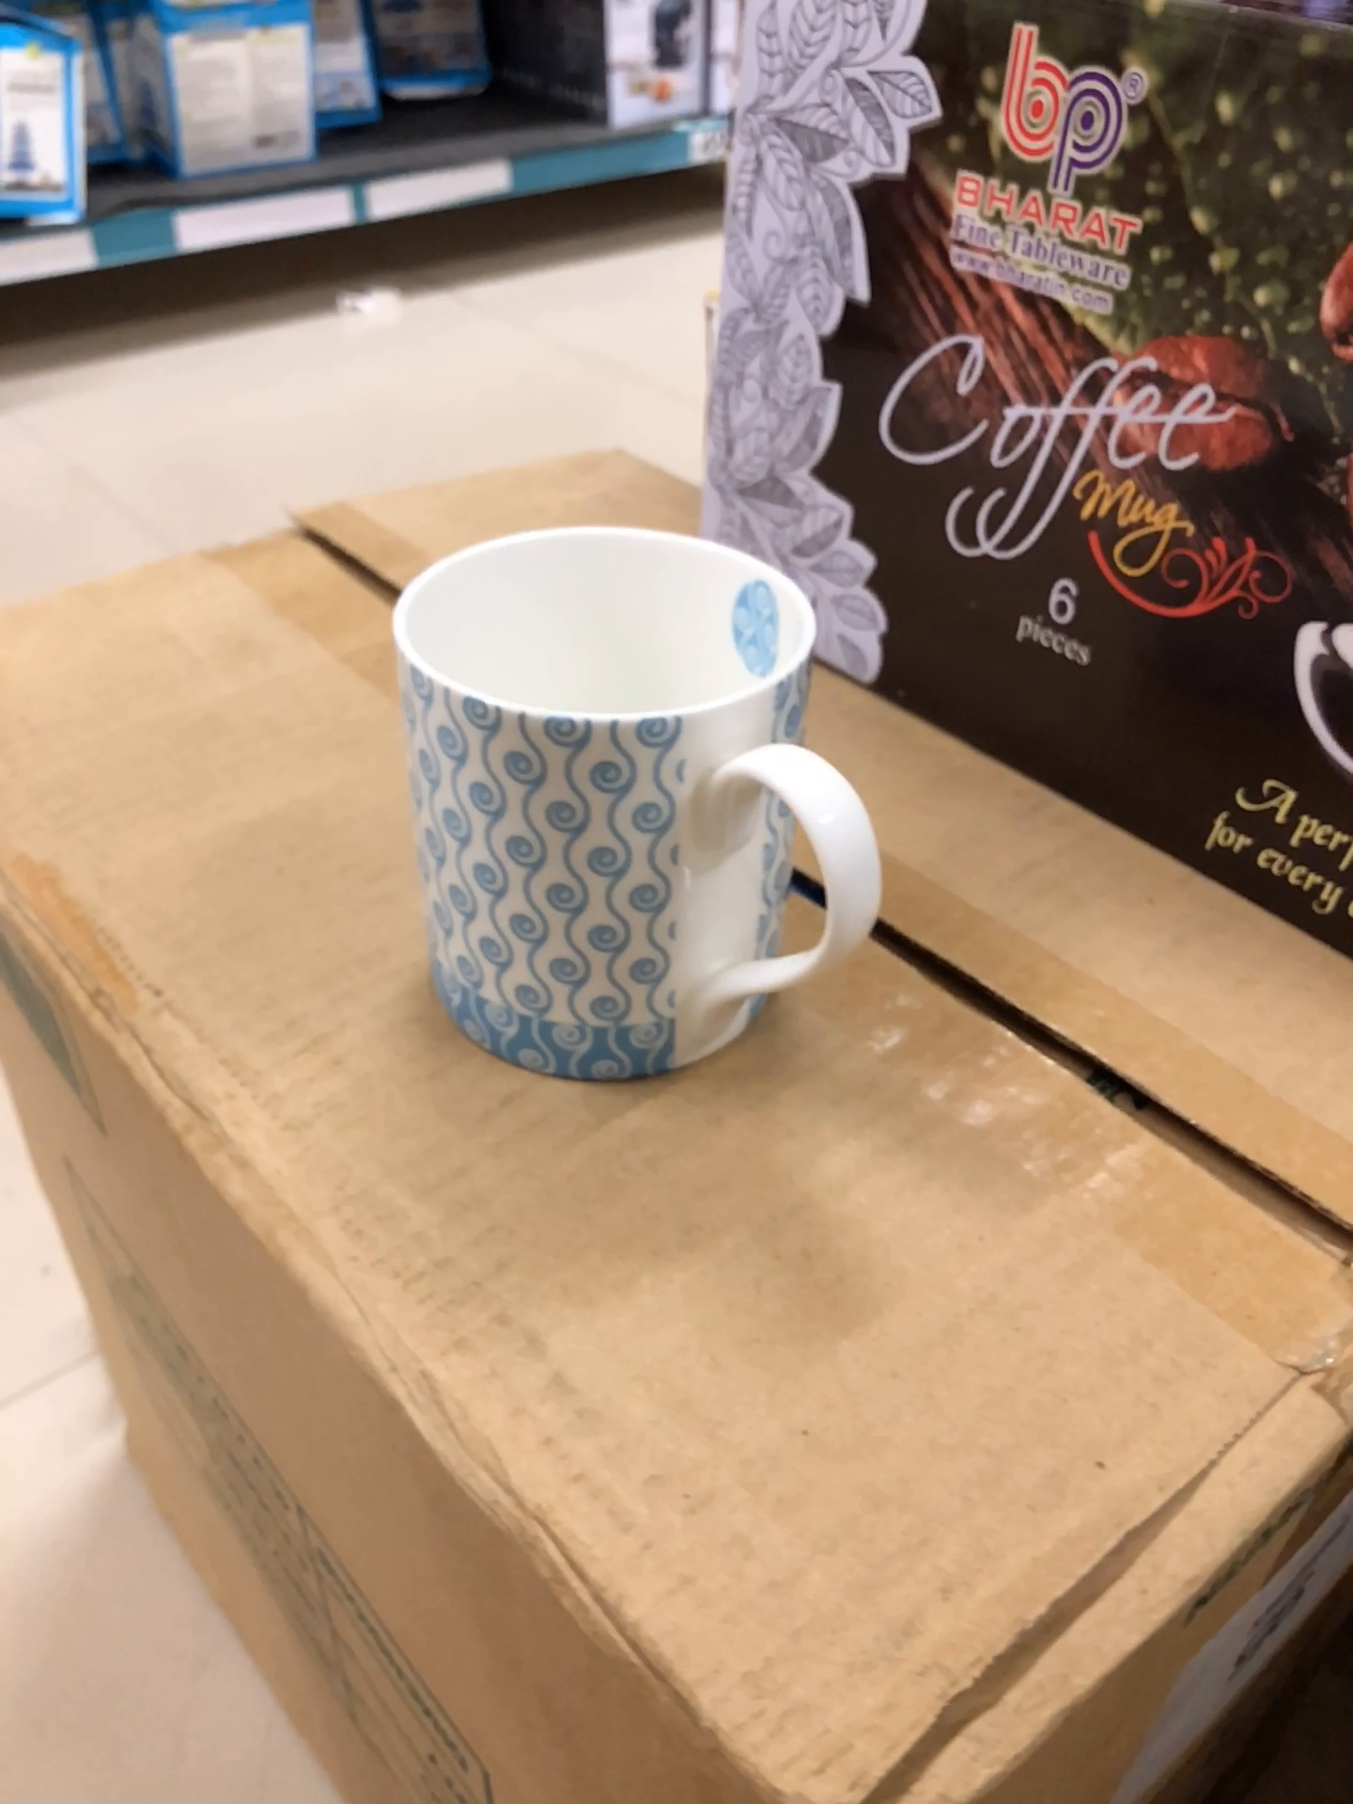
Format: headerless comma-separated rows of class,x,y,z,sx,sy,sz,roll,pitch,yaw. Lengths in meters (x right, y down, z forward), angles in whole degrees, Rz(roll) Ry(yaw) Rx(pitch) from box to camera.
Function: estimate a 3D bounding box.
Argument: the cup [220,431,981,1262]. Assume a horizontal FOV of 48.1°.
cup,-0.017,-0.017,0.272,0.070,0.089,0.110,-27,46,-31
